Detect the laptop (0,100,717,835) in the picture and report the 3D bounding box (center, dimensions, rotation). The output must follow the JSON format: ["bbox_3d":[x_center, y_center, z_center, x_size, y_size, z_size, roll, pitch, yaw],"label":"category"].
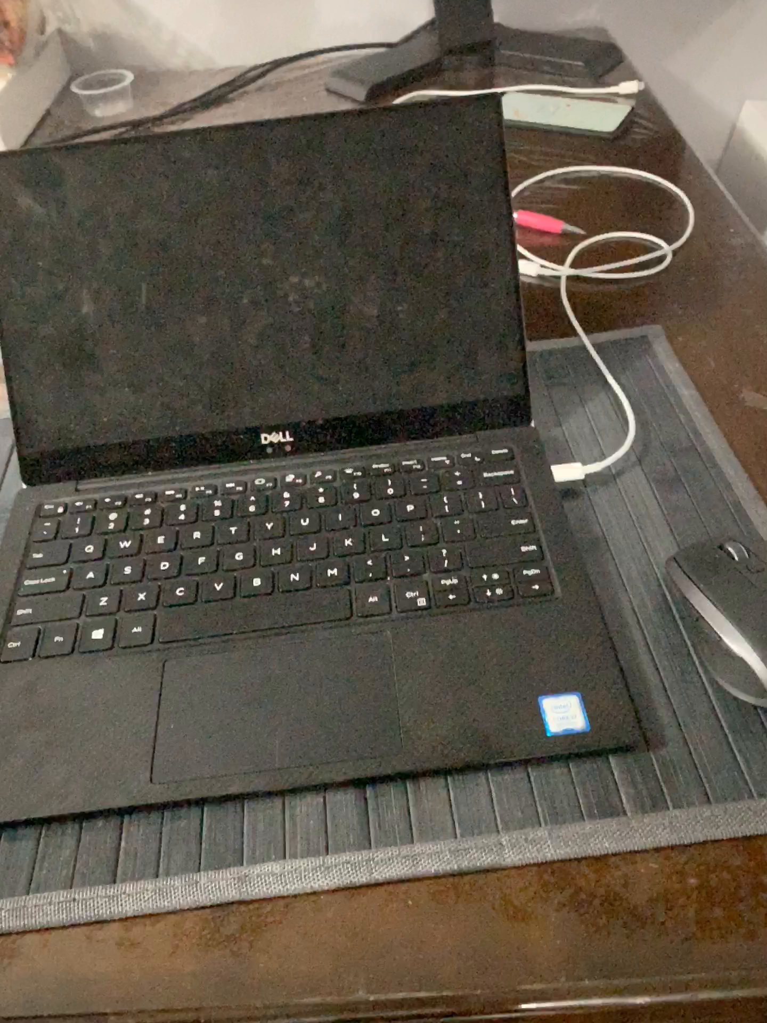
[{"bbox_3d":[-0.061,-0.047,0.355,0.281,0.129,0.299,-7,46,0],"label":"laptop"}]
